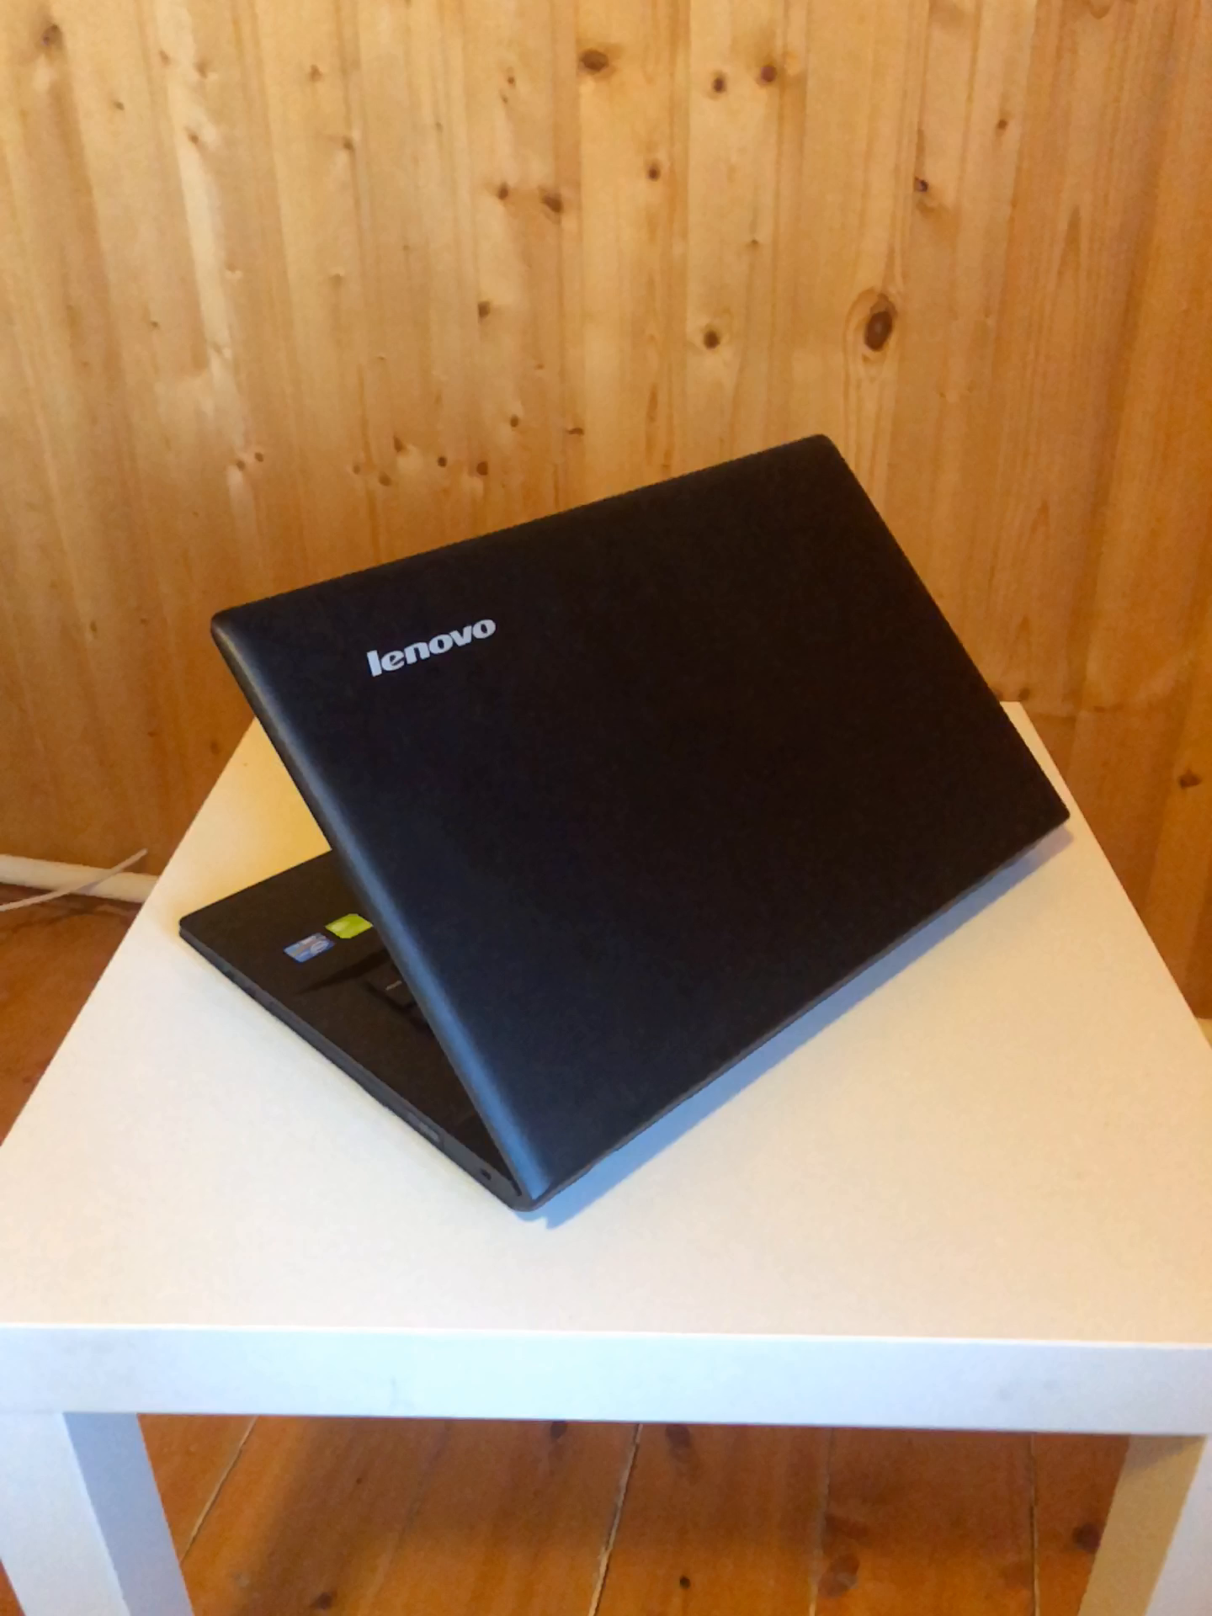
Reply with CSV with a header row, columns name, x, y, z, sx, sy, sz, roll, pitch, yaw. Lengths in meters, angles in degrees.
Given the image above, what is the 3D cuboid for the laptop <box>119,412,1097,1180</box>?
name,x,y,z,sx,sy,sz,roll,pitch,yaw
laptop,0.014,-0.051,0.668,0.390,0.179,0.261,-27,38,-36
